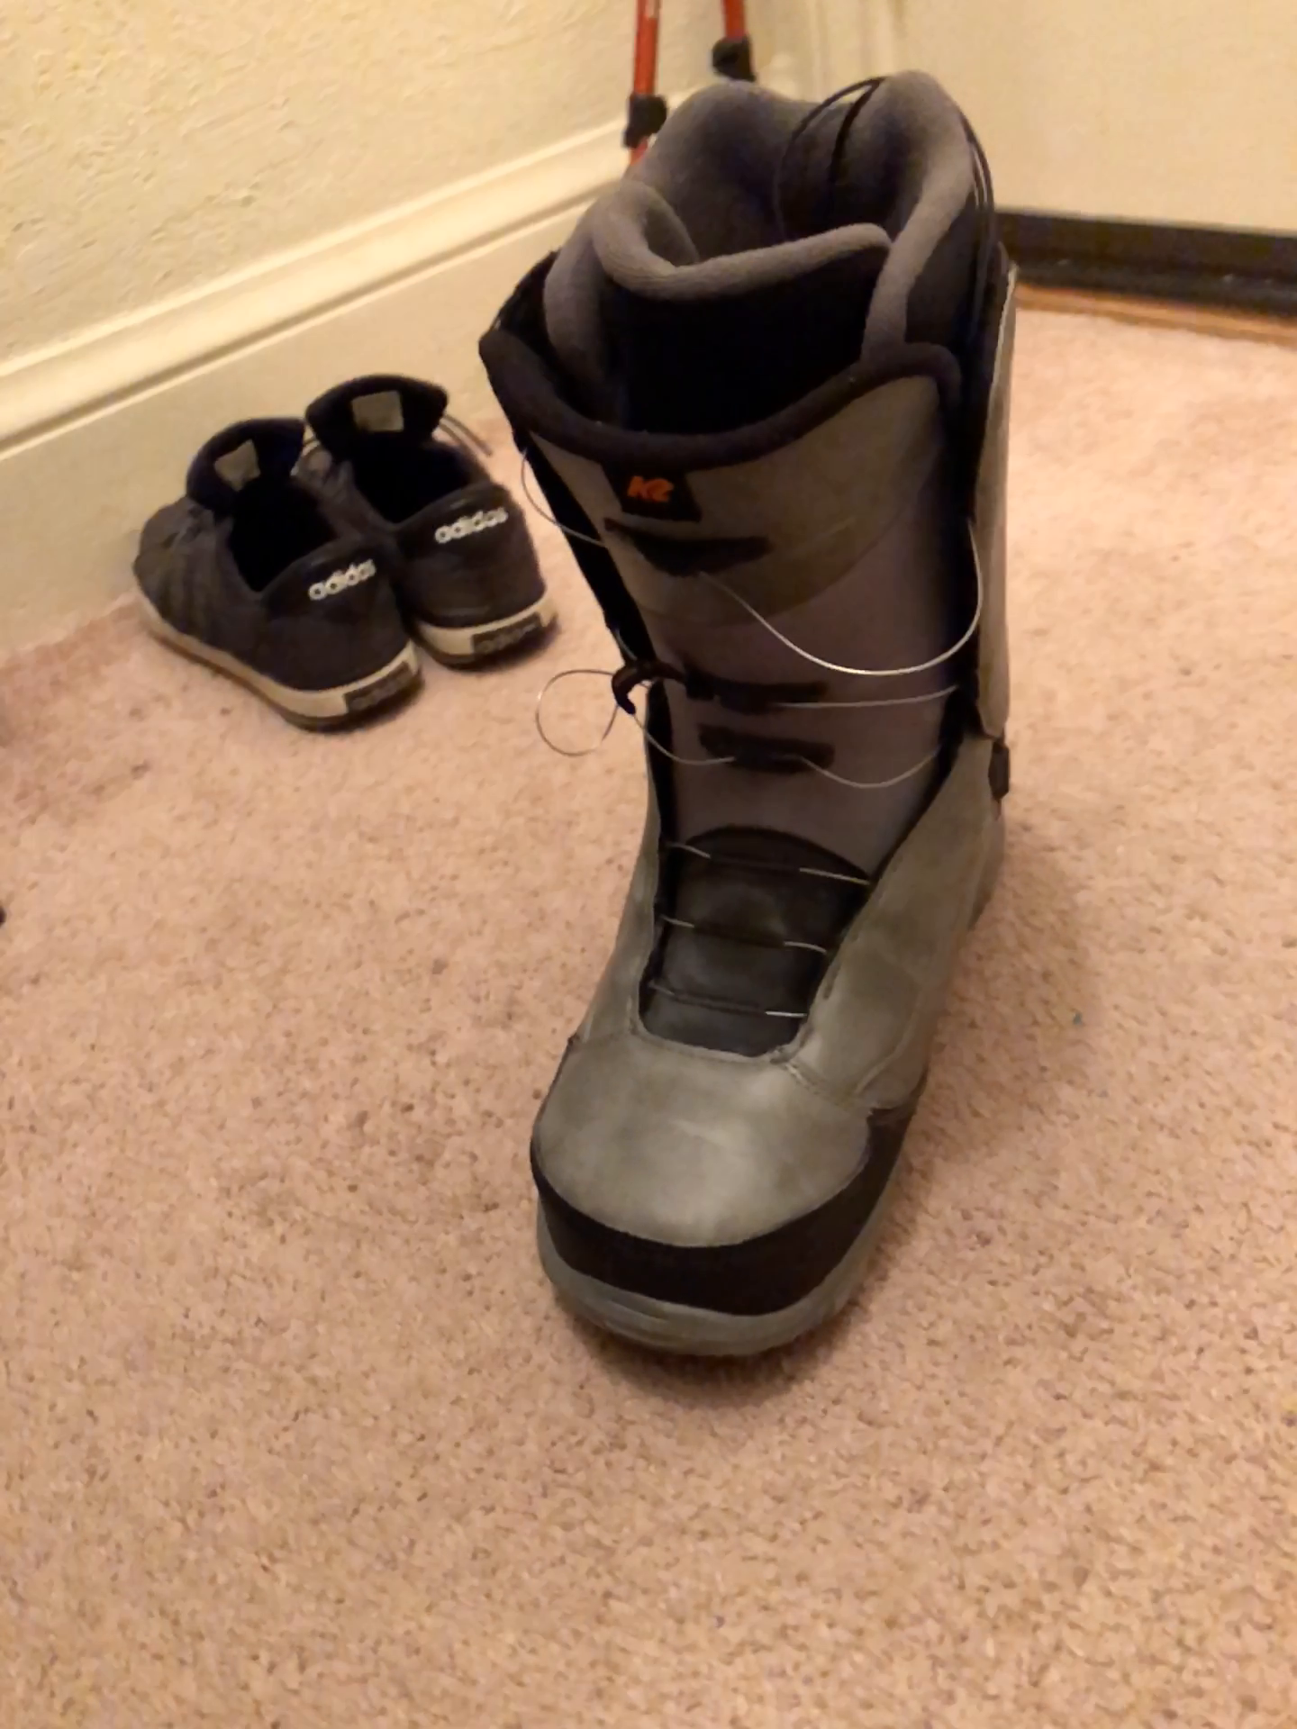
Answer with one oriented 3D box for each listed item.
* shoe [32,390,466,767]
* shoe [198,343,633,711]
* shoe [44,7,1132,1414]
[{"bbox_3d":[-0.227,-0.168,0.789,0.087,0.106,0.284,-34,43,-24],"label":"shoe"},{"bbox_3d":[-0.149,-0.218,0.874,0.107,0.116,0.304,-29,41,-25],"label":"shoe"},{"bbox_3d":[0.030,-0.055,0.424,0.137,0.281,0.274,13,45,29],"label":"shoe"}]
